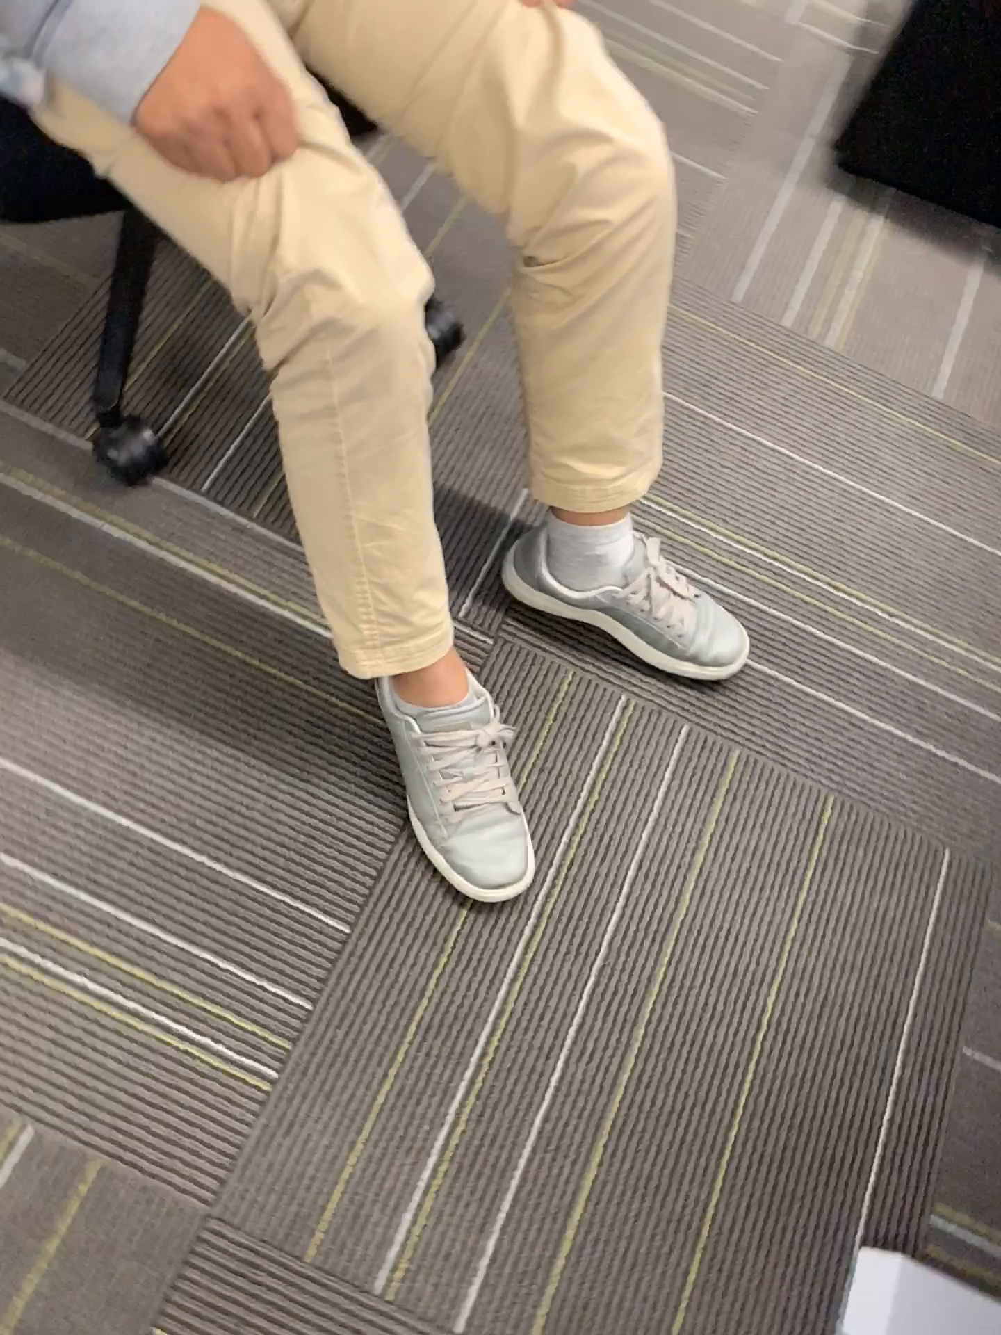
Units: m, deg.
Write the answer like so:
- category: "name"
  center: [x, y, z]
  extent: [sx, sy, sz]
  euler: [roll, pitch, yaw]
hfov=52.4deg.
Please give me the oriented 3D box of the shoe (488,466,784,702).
- category: "shoe"
  center: [0.145, -0.089, 1.117]
  extent: [0.280, 0.110, 0.120]
  euler: [24, 64, 0]

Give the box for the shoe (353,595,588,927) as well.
- category: "shoe"
  center: [-0.039, 0.092, 0.996]
  extent: [0.120, 0.140, 0.270]
  euler: [-18, 71, -17]
